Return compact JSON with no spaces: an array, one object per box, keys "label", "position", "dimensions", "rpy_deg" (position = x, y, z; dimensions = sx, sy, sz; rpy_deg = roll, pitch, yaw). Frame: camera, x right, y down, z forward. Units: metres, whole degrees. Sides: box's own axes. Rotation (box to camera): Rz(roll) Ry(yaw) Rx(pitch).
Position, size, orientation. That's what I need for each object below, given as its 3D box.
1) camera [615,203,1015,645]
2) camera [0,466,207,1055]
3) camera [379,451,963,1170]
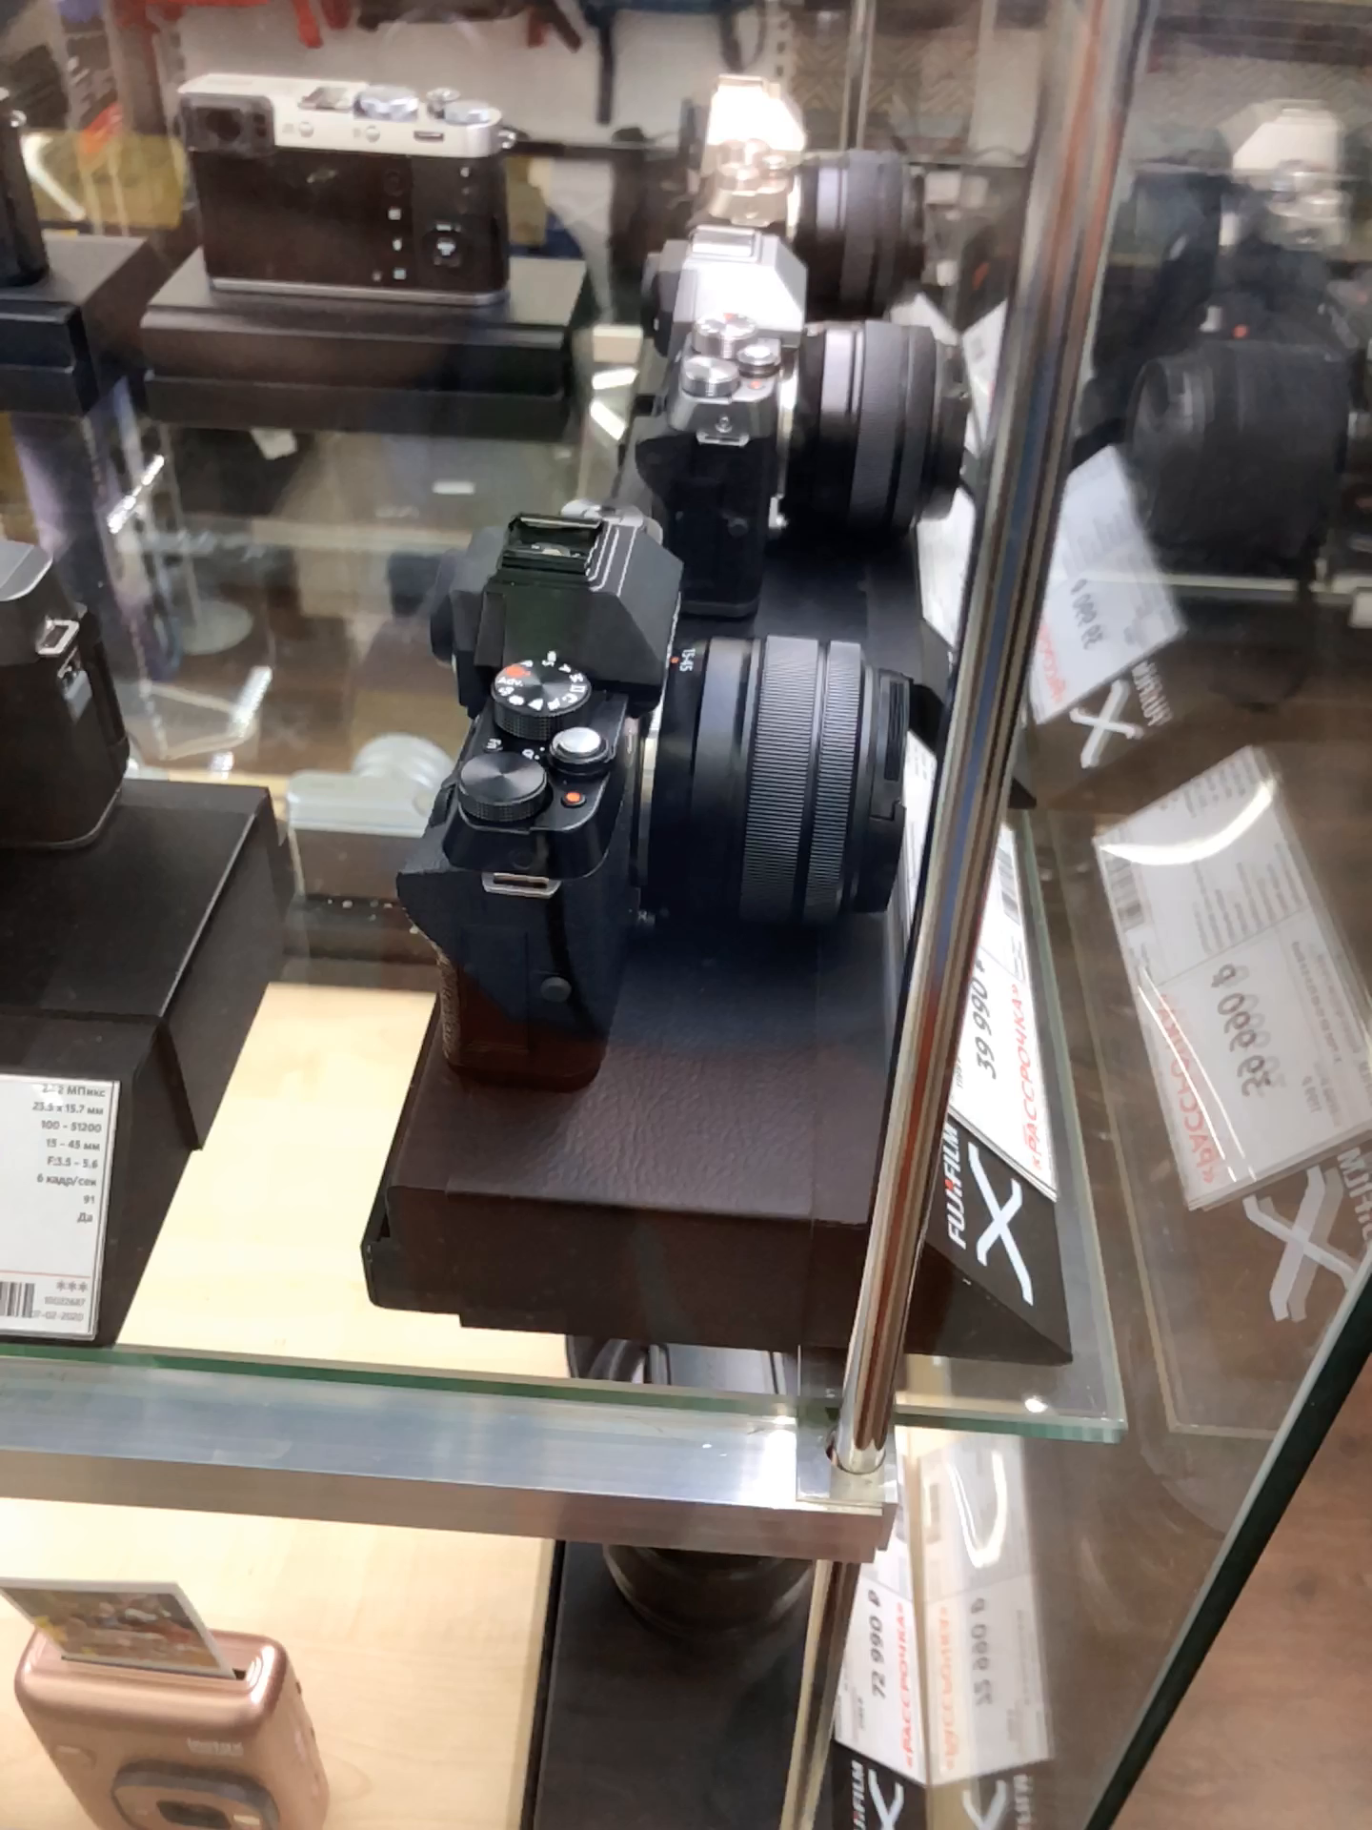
[{"label":"camera","position":[0.035,-0.148,0.449],"dimensions":[0.099,0.078,0.121],"rpy_deg":[4,41,2]},{"label":"camera","position":[-0.177,-0.035,0.311],"dimensions":[0.120,0.069,0.100],"rpy_deg":[3,41,0]},{"label":"camera","position":[0.002,-0.027,0.321],"dimensions":[0.095,0.090,0.121],"rpy_deg":[5,41,3]}]
